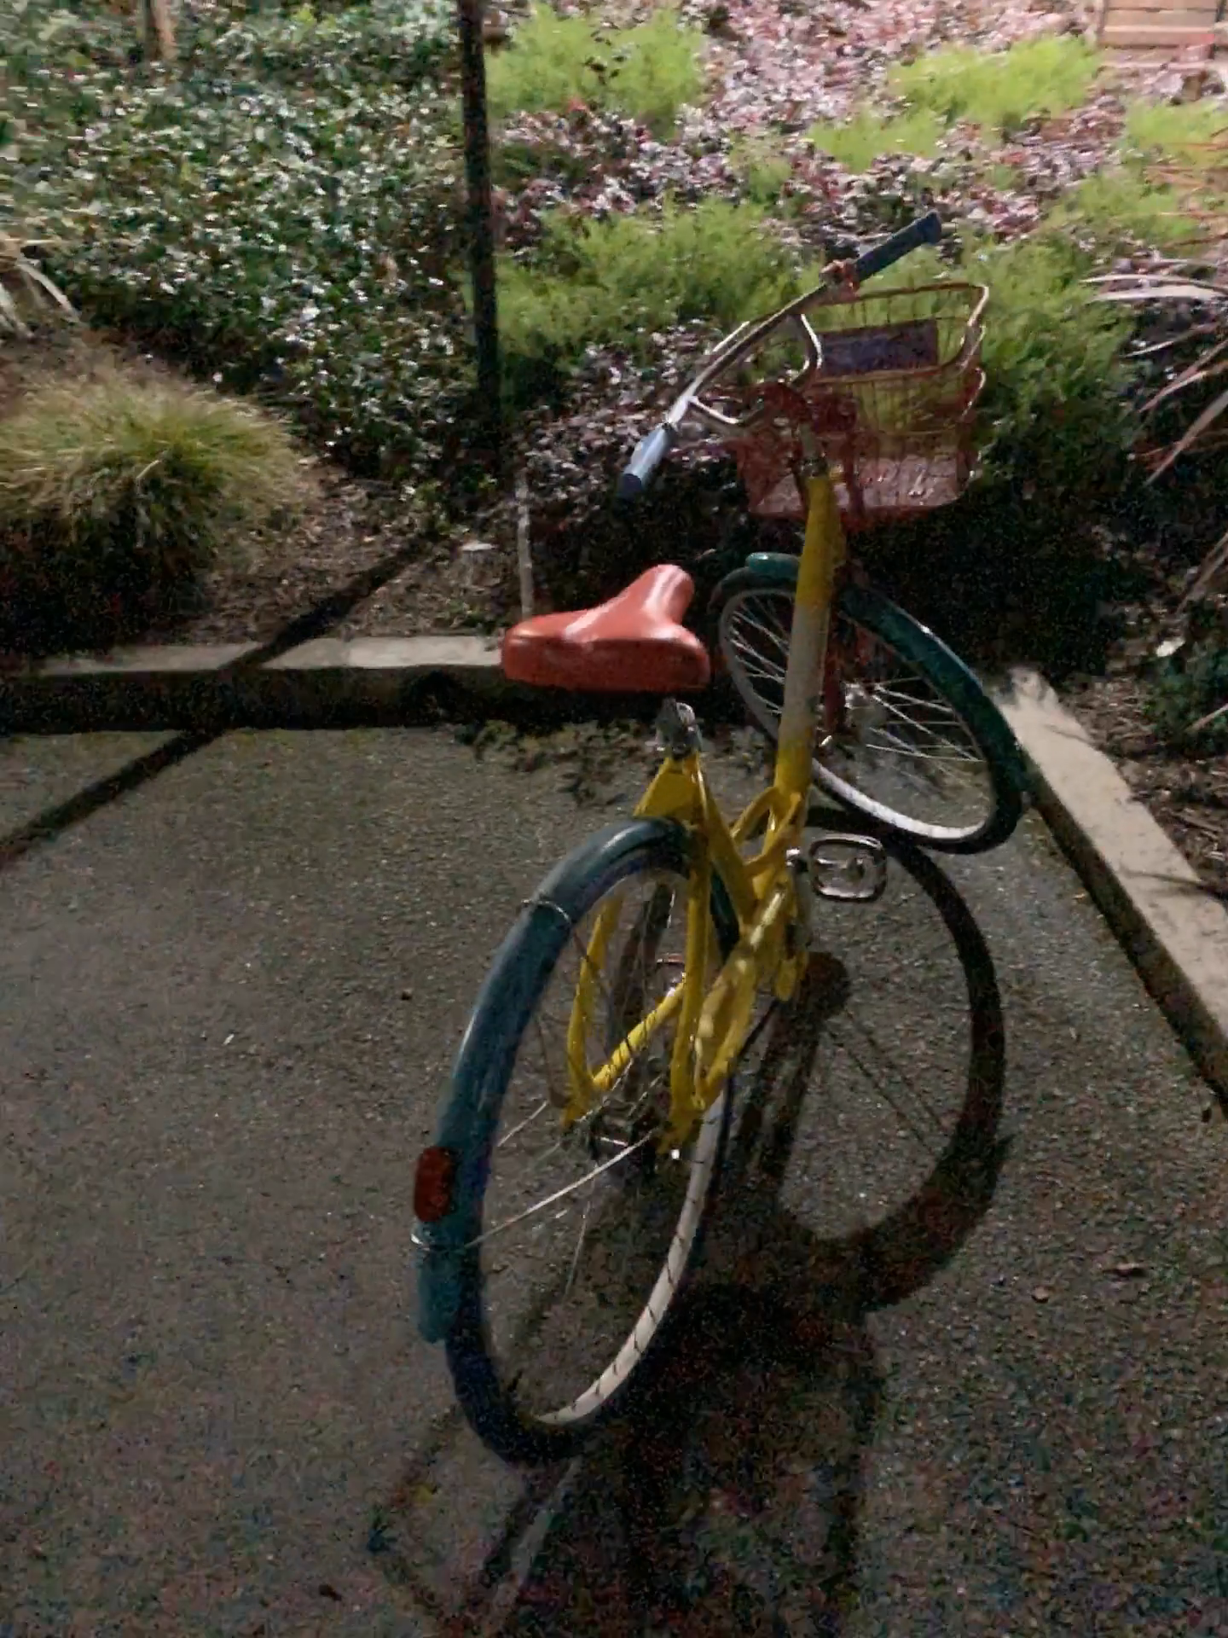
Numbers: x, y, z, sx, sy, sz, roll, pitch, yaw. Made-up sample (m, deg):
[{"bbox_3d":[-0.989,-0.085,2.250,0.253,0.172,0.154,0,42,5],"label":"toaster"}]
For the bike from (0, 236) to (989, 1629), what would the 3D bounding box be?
[{"bbox_3d":[0.072,-0.087,1.657,0.600,1.085,1.591,10,32,13],"label":"bike"}]
